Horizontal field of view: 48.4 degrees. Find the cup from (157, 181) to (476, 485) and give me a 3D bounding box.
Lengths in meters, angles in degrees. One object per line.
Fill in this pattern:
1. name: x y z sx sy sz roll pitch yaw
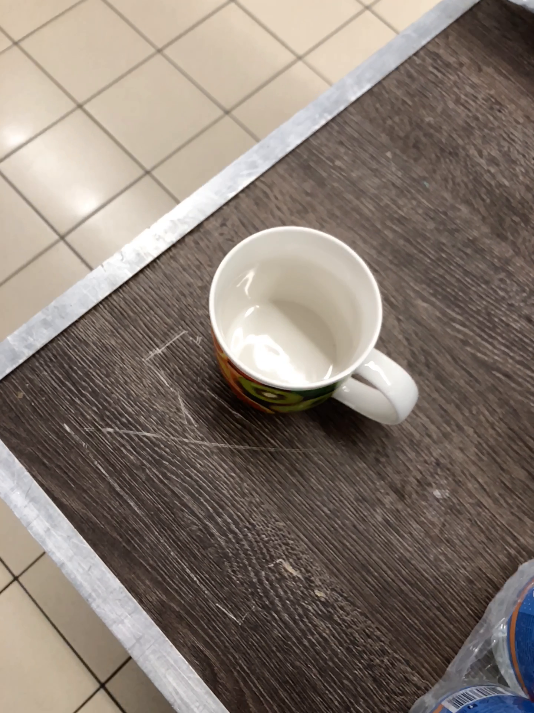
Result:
1. cup: 0.023 -0.008 0.329 0.126 0.086 0.091 35 74 8
